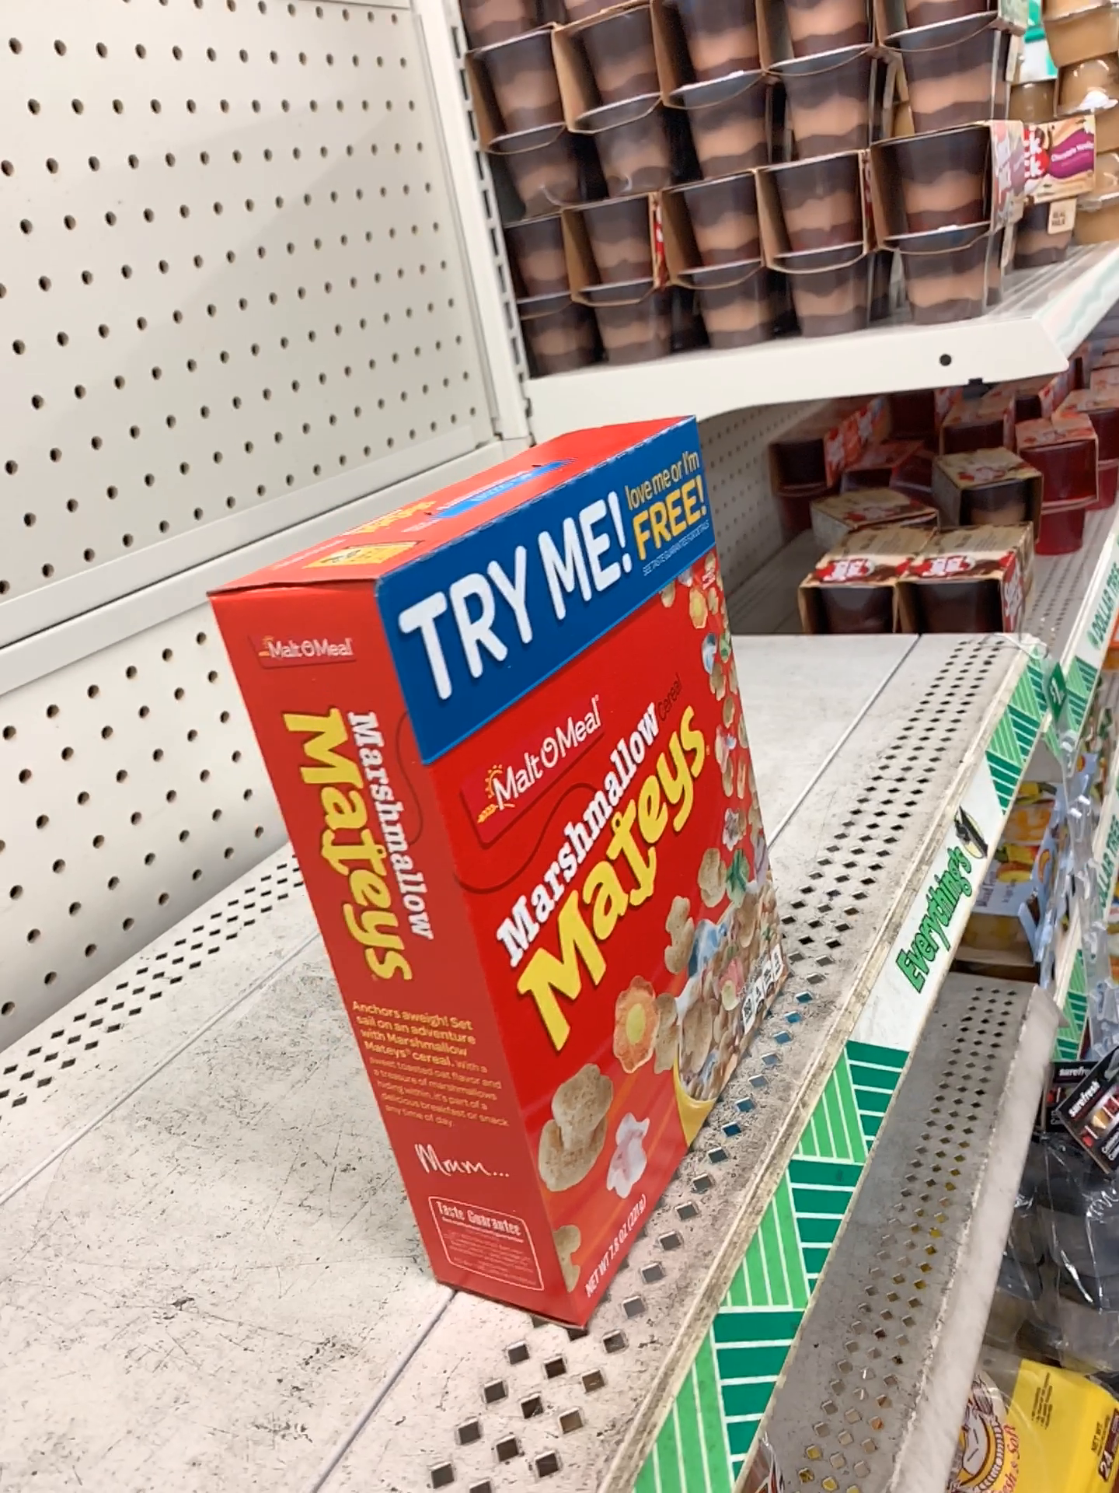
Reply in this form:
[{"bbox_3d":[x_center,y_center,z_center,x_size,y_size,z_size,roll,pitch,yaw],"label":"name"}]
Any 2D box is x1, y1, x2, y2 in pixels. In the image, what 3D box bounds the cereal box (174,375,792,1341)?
[{"bbox_3d":[0.002,0.022,0.360,0.050,0.229,0.181,2,26,33],"label":"cereal box"}]
